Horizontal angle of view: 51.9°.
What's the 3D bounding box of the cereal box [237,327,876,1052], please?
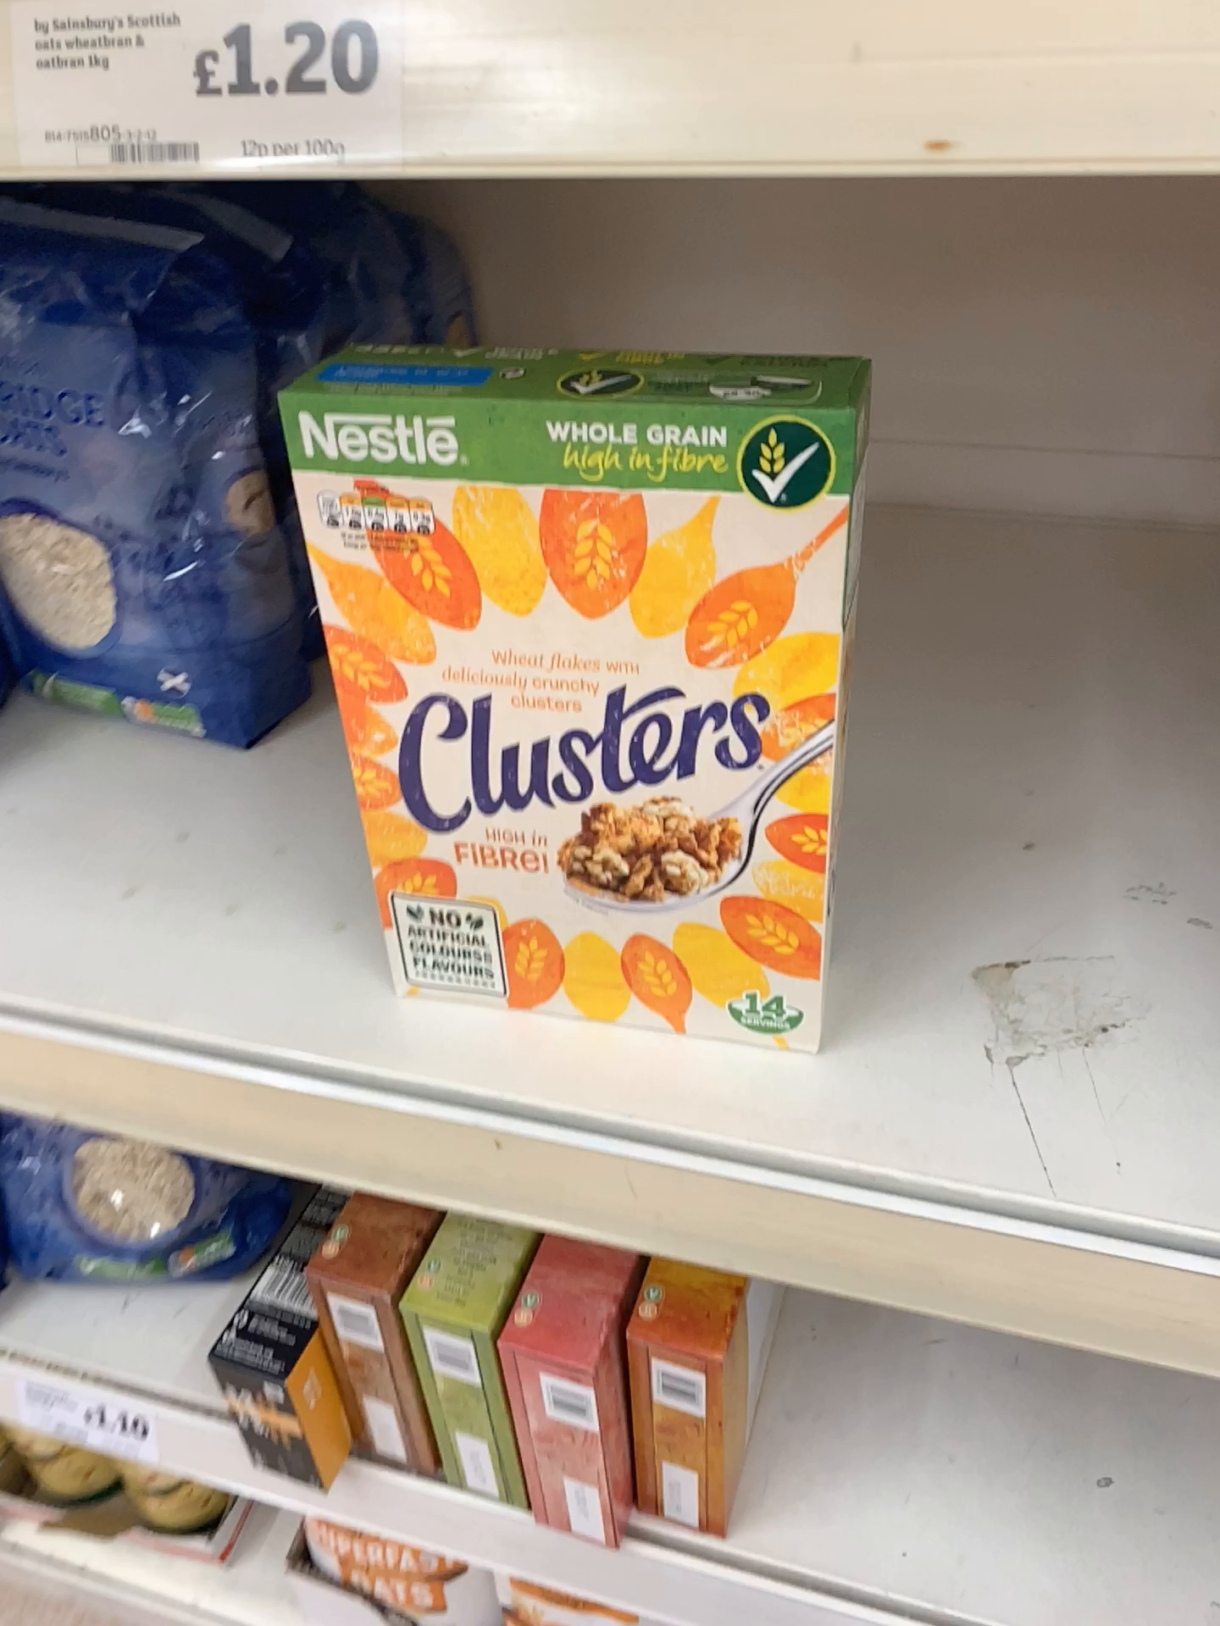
[{"bbox_3d":[-0.011,-0.039,0.484,0.200,0.267,0.061,6,35,12],"label":"cereal box"}]
